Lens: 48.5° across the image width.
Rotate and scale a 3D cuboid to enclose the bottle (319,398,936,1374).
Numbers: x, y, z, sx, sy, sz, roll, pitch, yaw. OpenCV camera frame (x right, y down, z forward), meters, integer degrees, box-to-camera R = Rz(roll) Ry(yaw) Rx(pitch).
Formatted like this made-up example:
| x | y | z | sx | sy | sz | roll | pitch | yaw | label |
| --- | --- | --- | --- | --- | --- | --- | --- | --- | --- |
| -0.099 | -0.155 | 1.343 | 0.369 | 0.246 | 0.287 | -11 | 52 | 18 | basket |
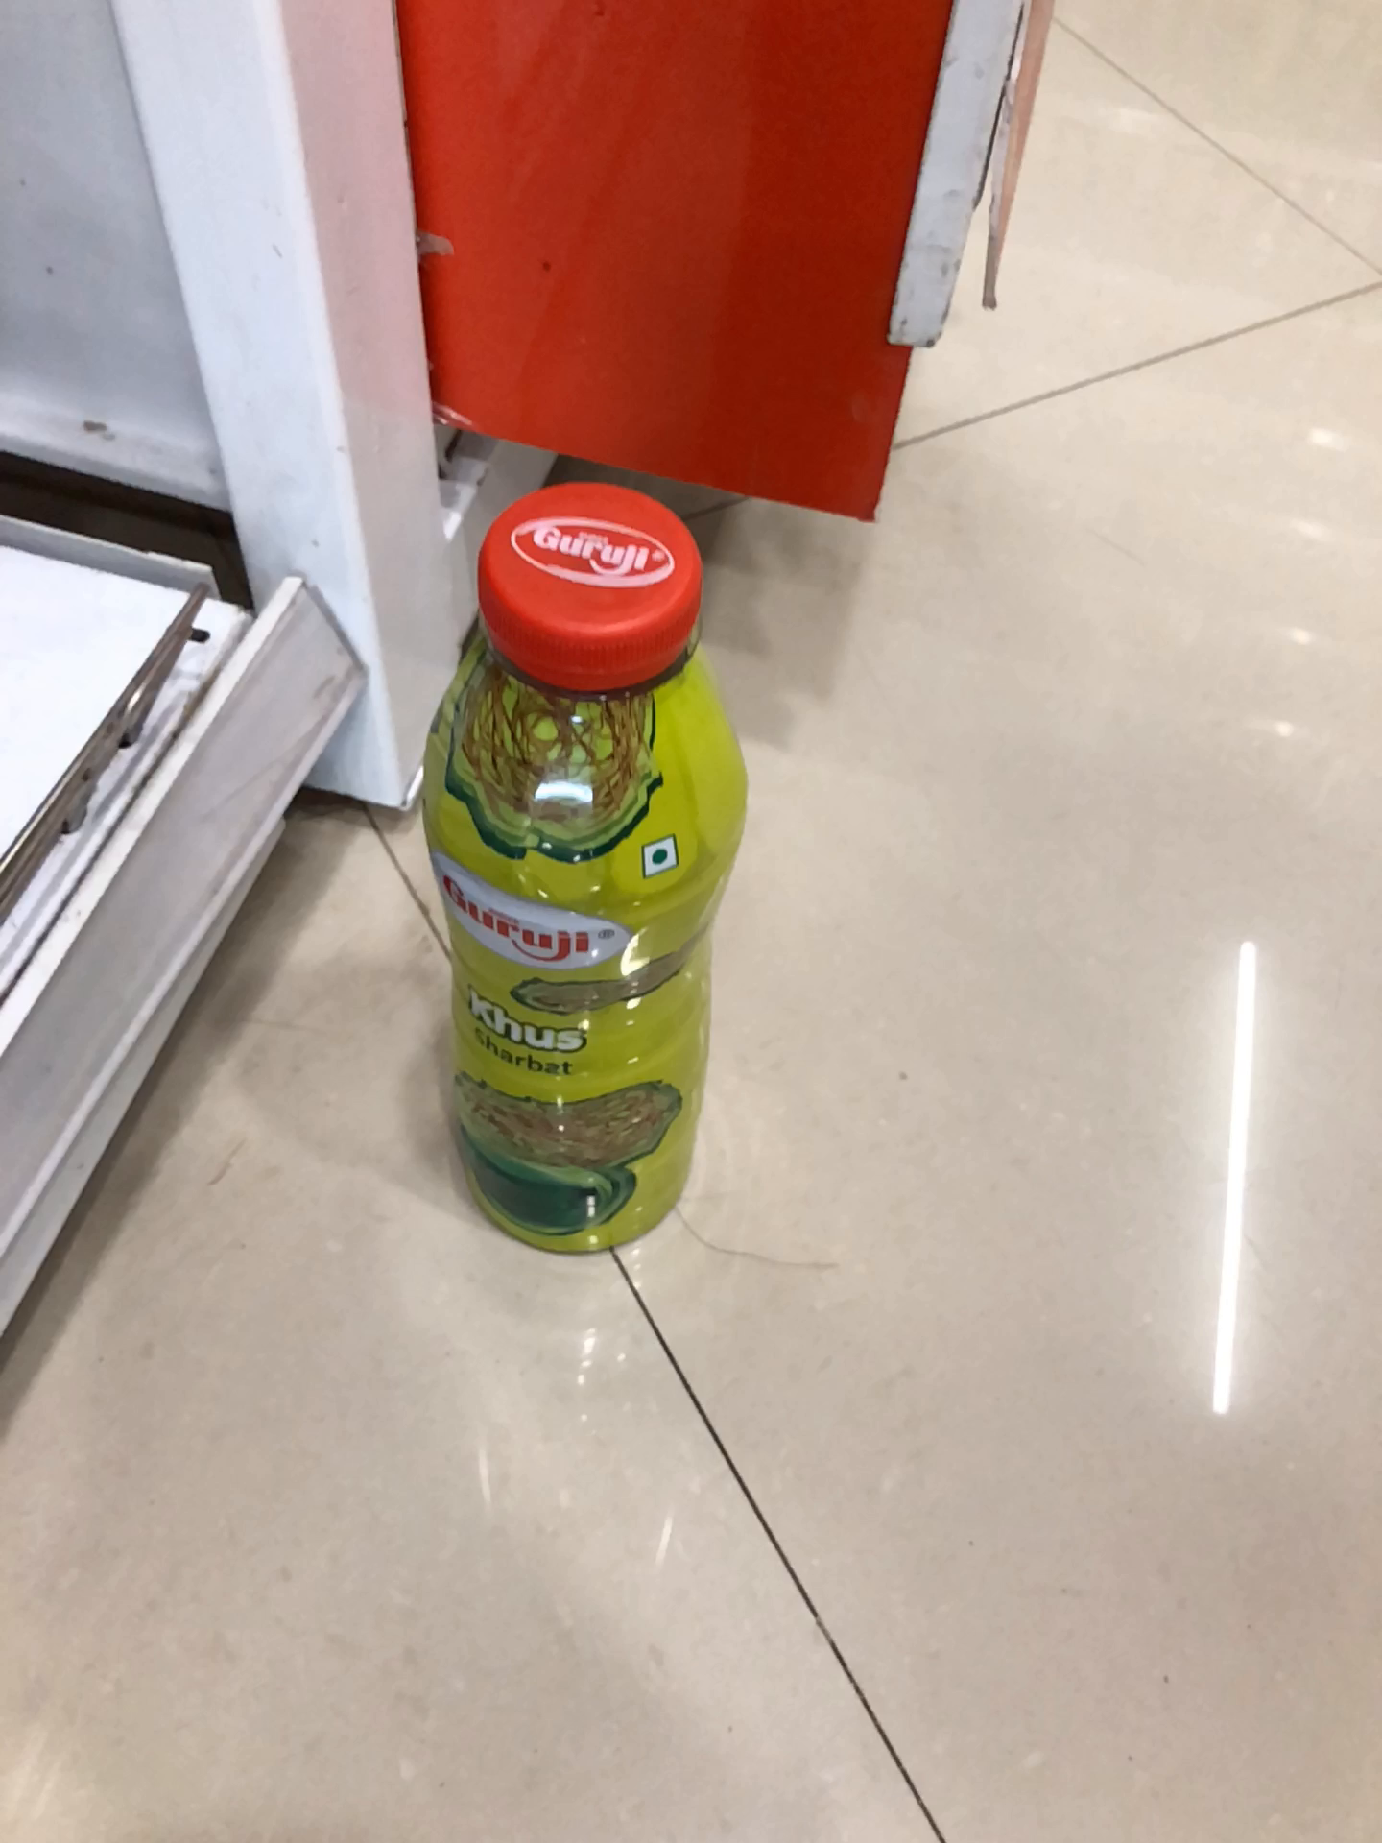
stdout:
| x | y | z | sx | sy | sz | roll | pitch | yaw | label |
| --- | --- | --- | --- | --- | --- | --- | --- | --- | --- |
| -0.013 | 0.012 | 0.365 | 0.080 | 0.239 | 0.081 | 1 | 53 | -2 | bottle |
